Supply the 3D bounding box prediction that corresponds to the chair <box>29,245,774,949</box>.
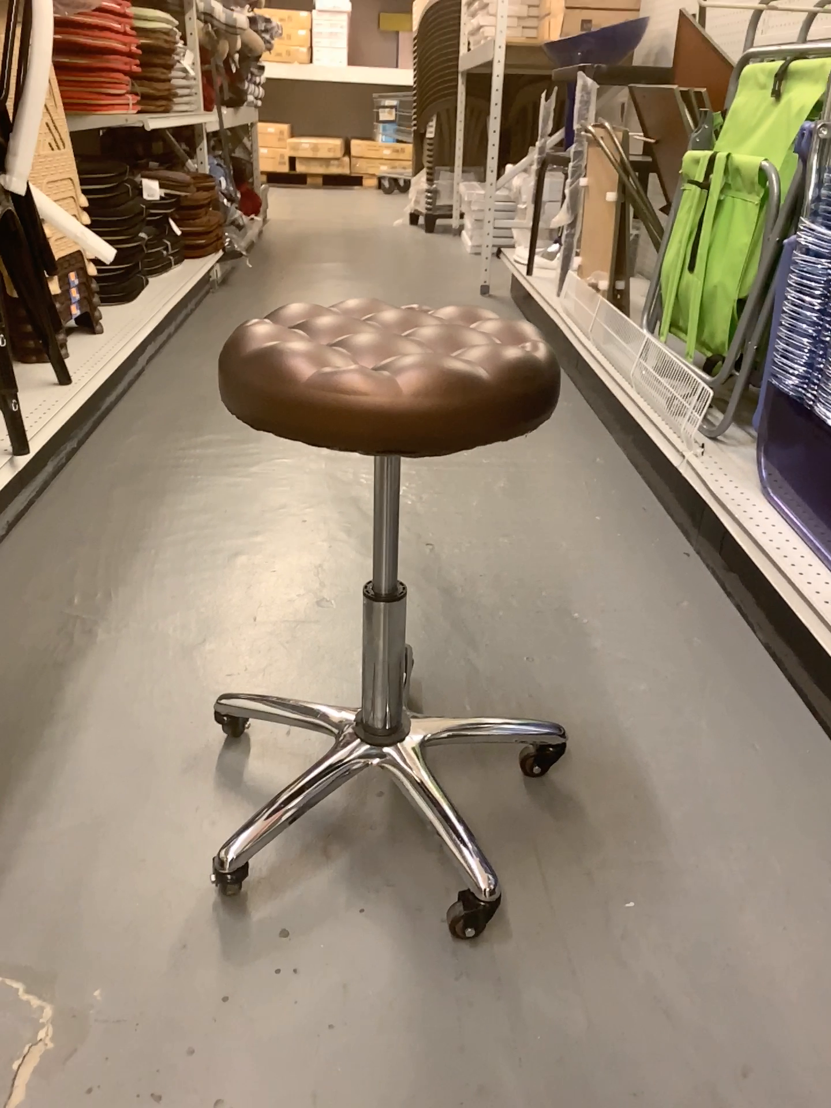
[{"bbox_3d":[-0.021,0.010,0.926,0.501,0.574,0.514,2,27,-2],"label":"chair"}]
